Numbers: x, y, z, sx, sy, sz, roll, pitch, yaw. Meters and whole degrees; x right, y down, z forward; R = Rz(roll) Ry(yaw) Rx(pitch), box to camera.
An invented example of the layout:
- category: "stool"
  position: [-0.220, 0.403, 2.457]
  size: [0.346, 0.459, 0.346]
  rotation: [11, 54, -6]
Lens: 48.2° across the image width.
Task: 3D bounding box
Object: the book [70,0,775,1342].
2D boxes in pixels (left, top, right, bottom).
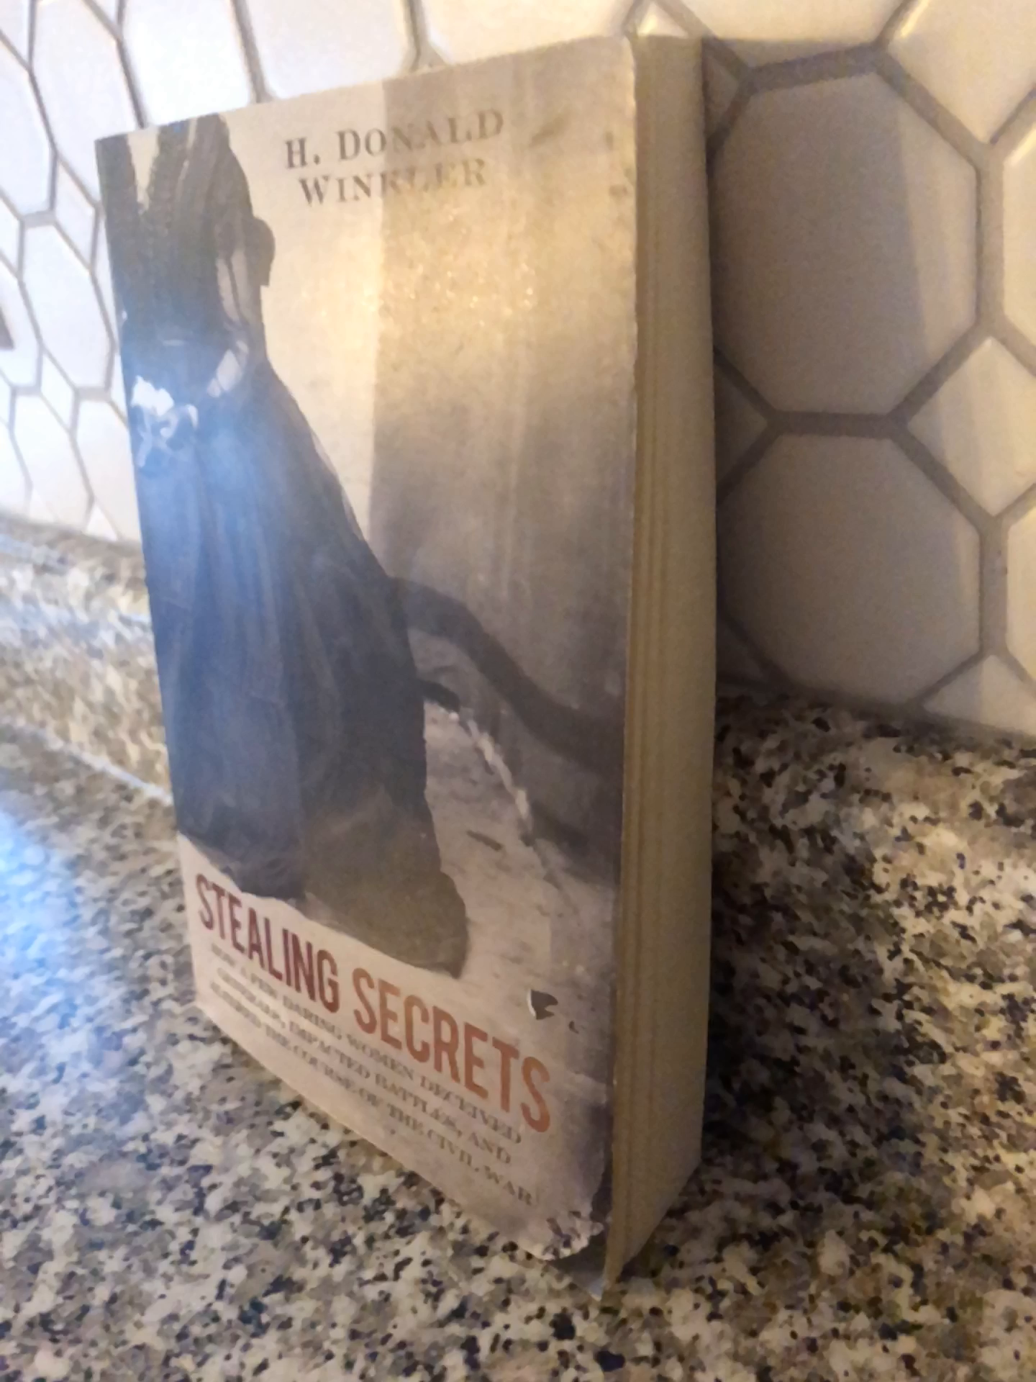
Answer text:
- category: "book"
  position: [-0.027, -0.005, 0.256]
  size: [0.162, 0.225, 0.041]
  rotation: [14, 23, 43]
